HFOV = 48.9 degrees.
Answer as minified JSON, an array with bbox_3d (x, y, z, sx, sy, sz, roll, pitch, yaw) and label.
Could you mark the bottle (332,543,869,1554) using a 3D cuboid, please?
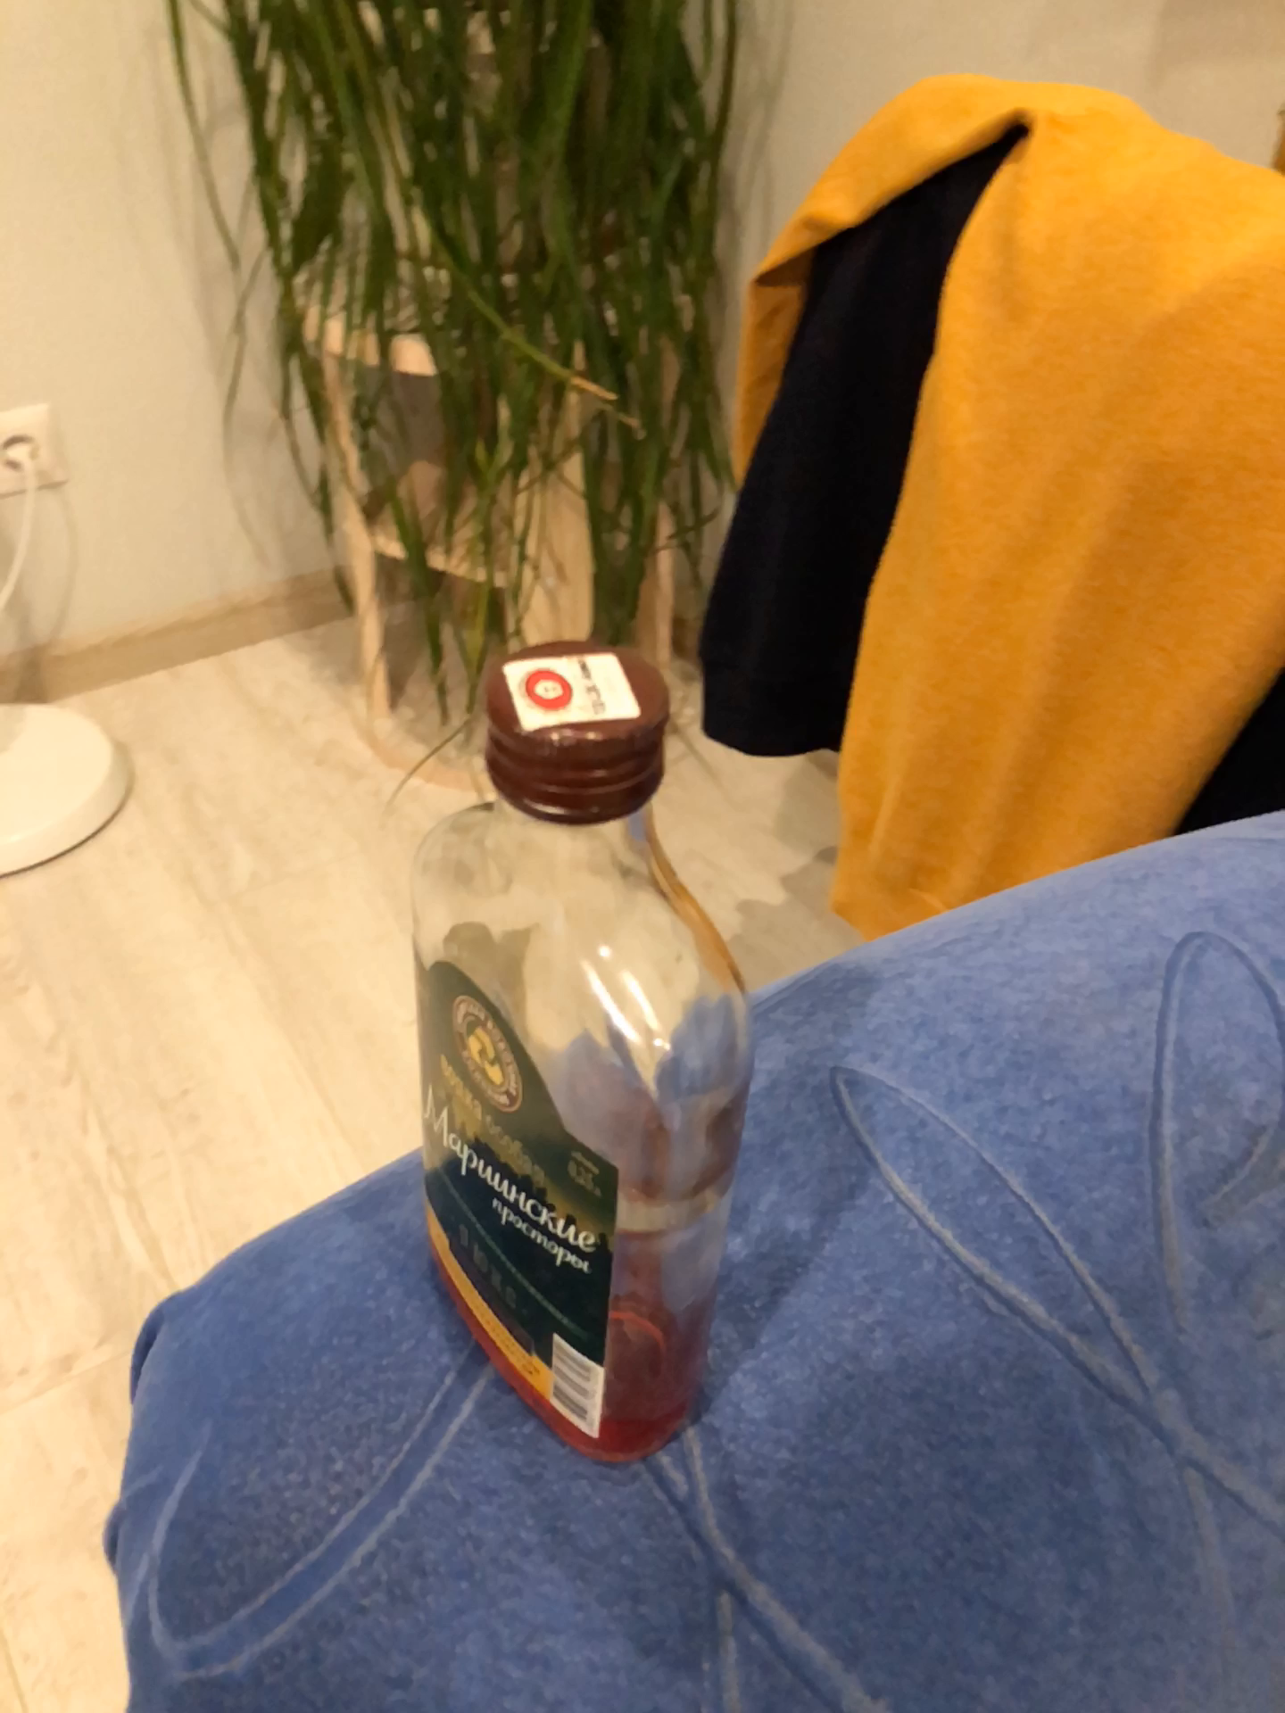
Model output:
[{"bbox_3d":[-0.012,0.043,0.275,0.040,0.179,0.090,-23,44,-28],"label":"bottle"}]
